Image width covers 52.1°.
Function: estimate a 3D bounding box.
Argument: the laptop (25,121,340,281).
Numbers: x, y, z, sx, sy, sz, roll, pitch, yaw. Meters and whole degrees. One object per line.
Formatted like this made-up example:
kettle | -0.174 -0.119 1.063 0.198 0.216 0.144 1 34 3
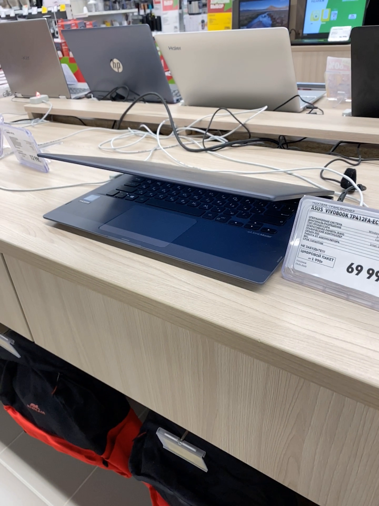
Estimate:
laptop | -0.008 -0.097 0.512 0.330 0.079 0.226 16 36 30
